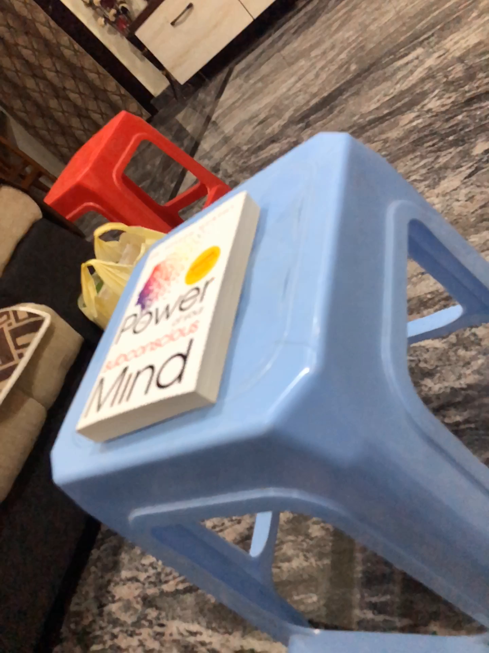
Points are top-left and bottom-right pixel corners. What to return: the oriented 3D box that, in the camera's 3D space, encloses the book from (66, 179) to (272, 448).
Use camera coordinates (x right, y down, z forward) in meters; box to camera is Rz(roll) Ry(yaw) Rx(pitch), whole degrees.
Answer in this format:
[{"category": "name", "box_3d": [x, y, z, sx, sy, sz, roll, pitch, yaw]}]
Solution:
[{"category": "book", "box_3d": [-0.054, -0.014, 0.423, 0.141, 0.030, 0.200, -25, 37, 37]}]
